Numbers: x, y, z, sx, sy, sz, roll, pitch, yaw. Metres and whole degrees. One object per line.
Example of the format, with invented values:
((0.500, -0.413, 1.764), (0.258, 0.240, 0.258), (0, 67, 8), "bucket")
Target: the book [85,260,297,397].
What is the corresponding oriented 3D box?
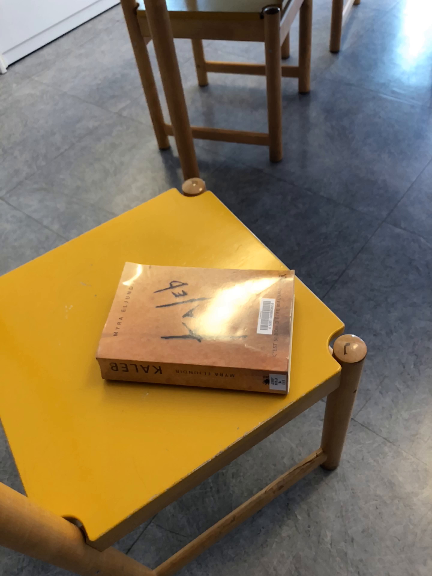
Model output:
((-0.020, 0.041, 0.564), (0.223, 0.043, 0.150), (2, 53, 11), "book")
